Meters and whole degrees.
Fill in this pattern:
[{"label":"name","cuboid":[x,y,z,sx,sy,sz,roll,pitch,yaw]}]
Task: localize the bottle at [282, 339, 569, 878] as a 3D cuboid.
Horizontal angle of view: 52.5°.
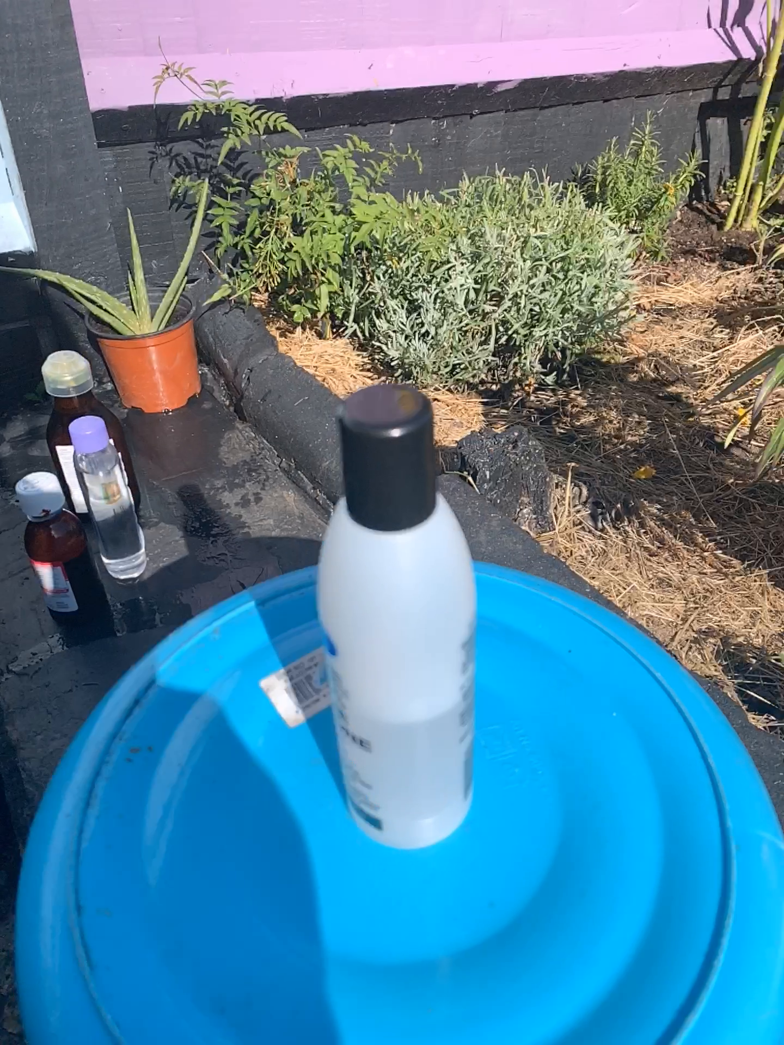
[{"label":"bottle","cuboid":[0.008,0.037,0.279,0.060,0.178,0.060,0,36,0]}]
